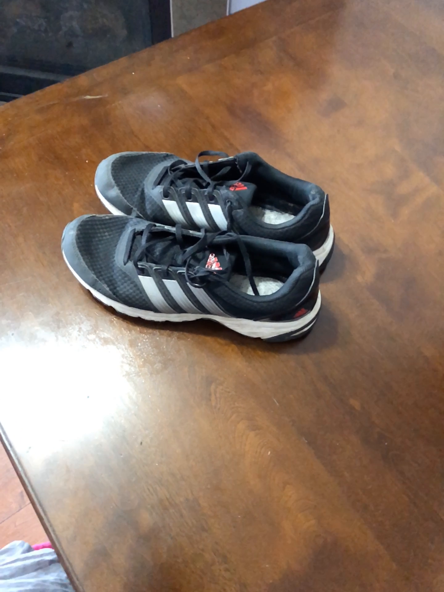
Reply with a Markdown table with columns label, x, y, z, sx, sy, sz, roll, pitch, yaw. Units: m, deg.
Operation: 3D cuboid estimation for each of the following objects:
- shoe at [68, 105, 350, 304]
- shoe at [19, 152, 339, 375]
| label | x | y | z | sx | sy | sz | roll | pitch | yaw |
| --- | --- | --- | --- | --- | --- | --- | --- | --- | --- |
| shoe | -0.014 | -0.109 | 0.597 | 0.290 | 0.120 | 0.120 | 16 | 62 | 5 |
| shoe | -0.041 | -0.032 | 0.539 | 0.290 | 0.130 | 0.120 | 16 | 62 | 5 |
